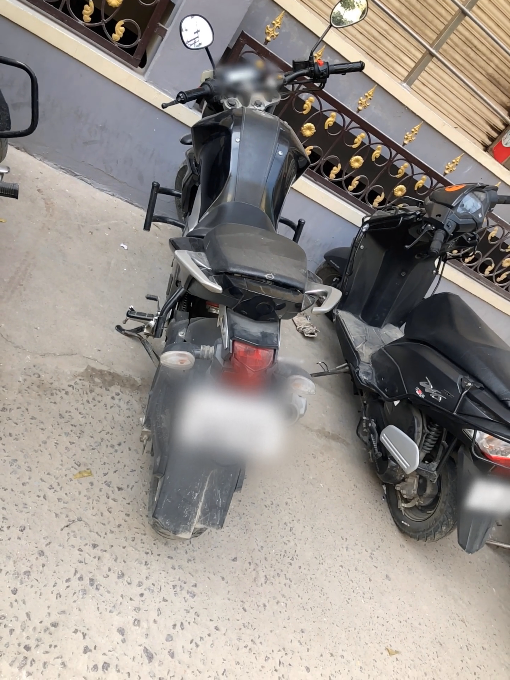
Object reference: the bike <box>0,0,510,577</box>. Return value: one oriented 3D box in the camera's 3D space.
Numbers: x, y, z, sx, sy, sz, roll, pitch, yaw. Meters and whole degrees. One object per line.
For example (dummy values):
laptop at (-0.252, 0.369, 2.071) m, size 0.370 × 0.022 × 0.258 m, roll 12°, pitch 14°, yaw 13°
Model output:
bike at (-0.220, -0.484, 1.788) m, size 0.693 × 1.197 × 1.765 m, roll 24°, pitch 33°, yaw -27°
